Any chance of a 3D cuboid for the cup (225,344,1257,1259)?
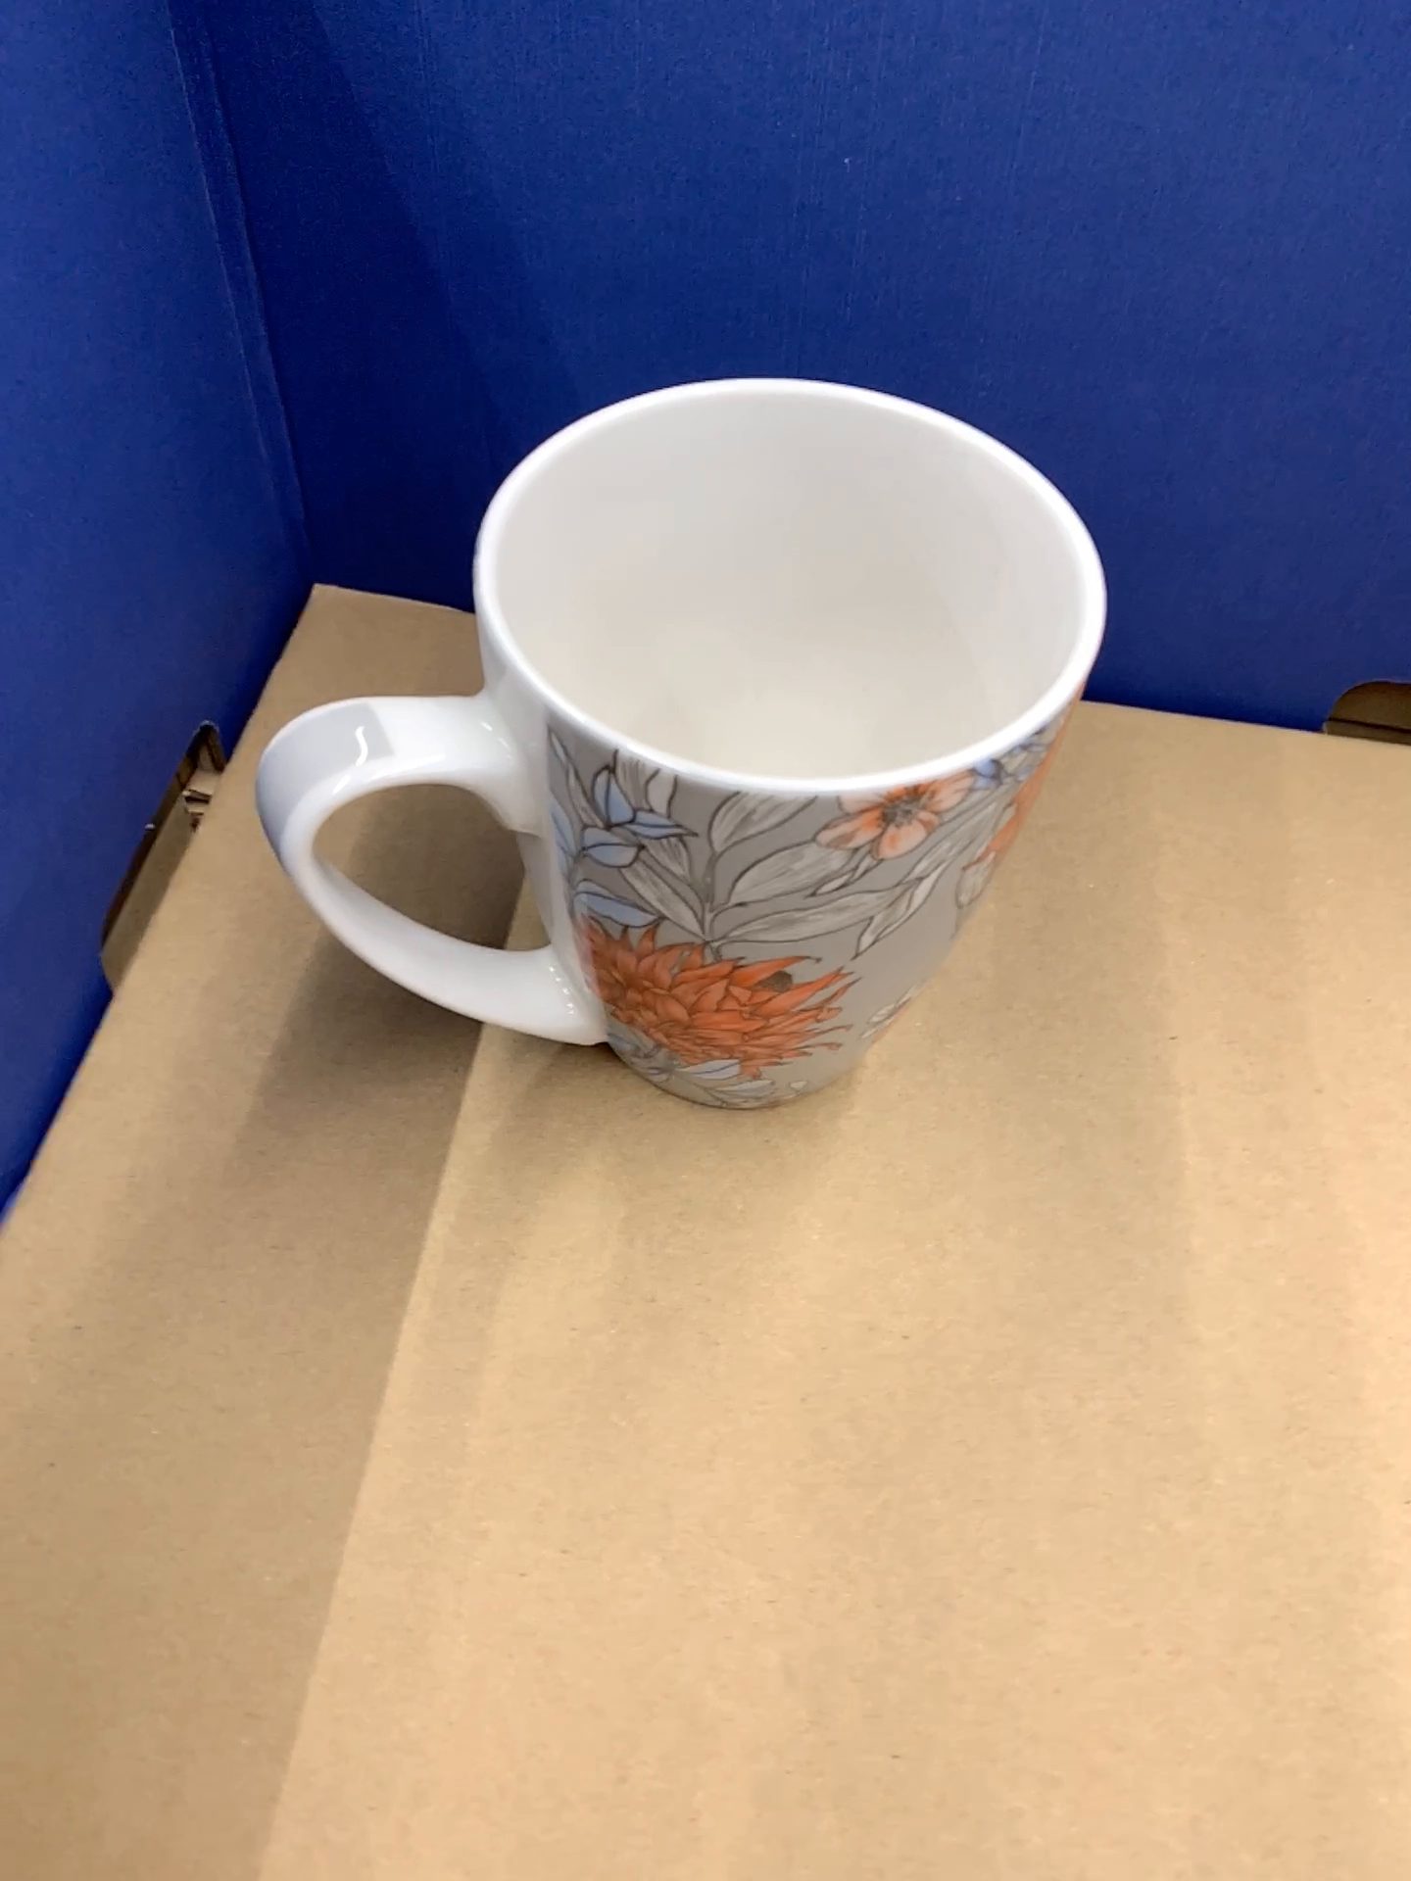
[{"bbox_3d":[-0.003,-0.024,0.228,0.117,0.085,0.092,-10,52,-11],"label":"cup"}]
